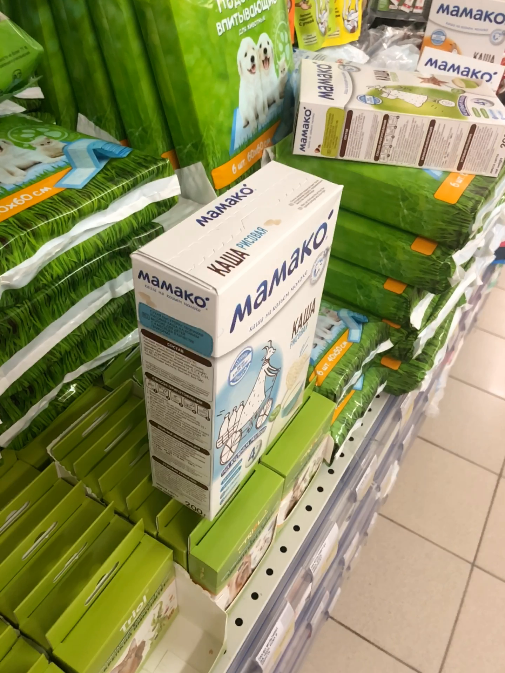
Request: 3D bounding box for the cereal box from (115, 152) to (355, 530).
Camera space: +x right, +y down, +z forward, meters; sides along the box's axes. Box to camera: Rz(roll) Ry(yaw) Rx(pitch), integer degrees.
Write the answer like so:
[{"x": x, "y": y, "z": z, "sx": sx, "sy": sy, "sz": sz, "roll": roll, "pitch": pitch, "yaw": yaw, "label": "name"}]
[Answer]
[{"x": -0.008, "y": 0.006, "z": 0.365, "sx": 0.060, "sy": 0.199, "sz": 0.141, "roll": 25, "pitch": 46, "yaw": 21, "label": "cereal box"}]
